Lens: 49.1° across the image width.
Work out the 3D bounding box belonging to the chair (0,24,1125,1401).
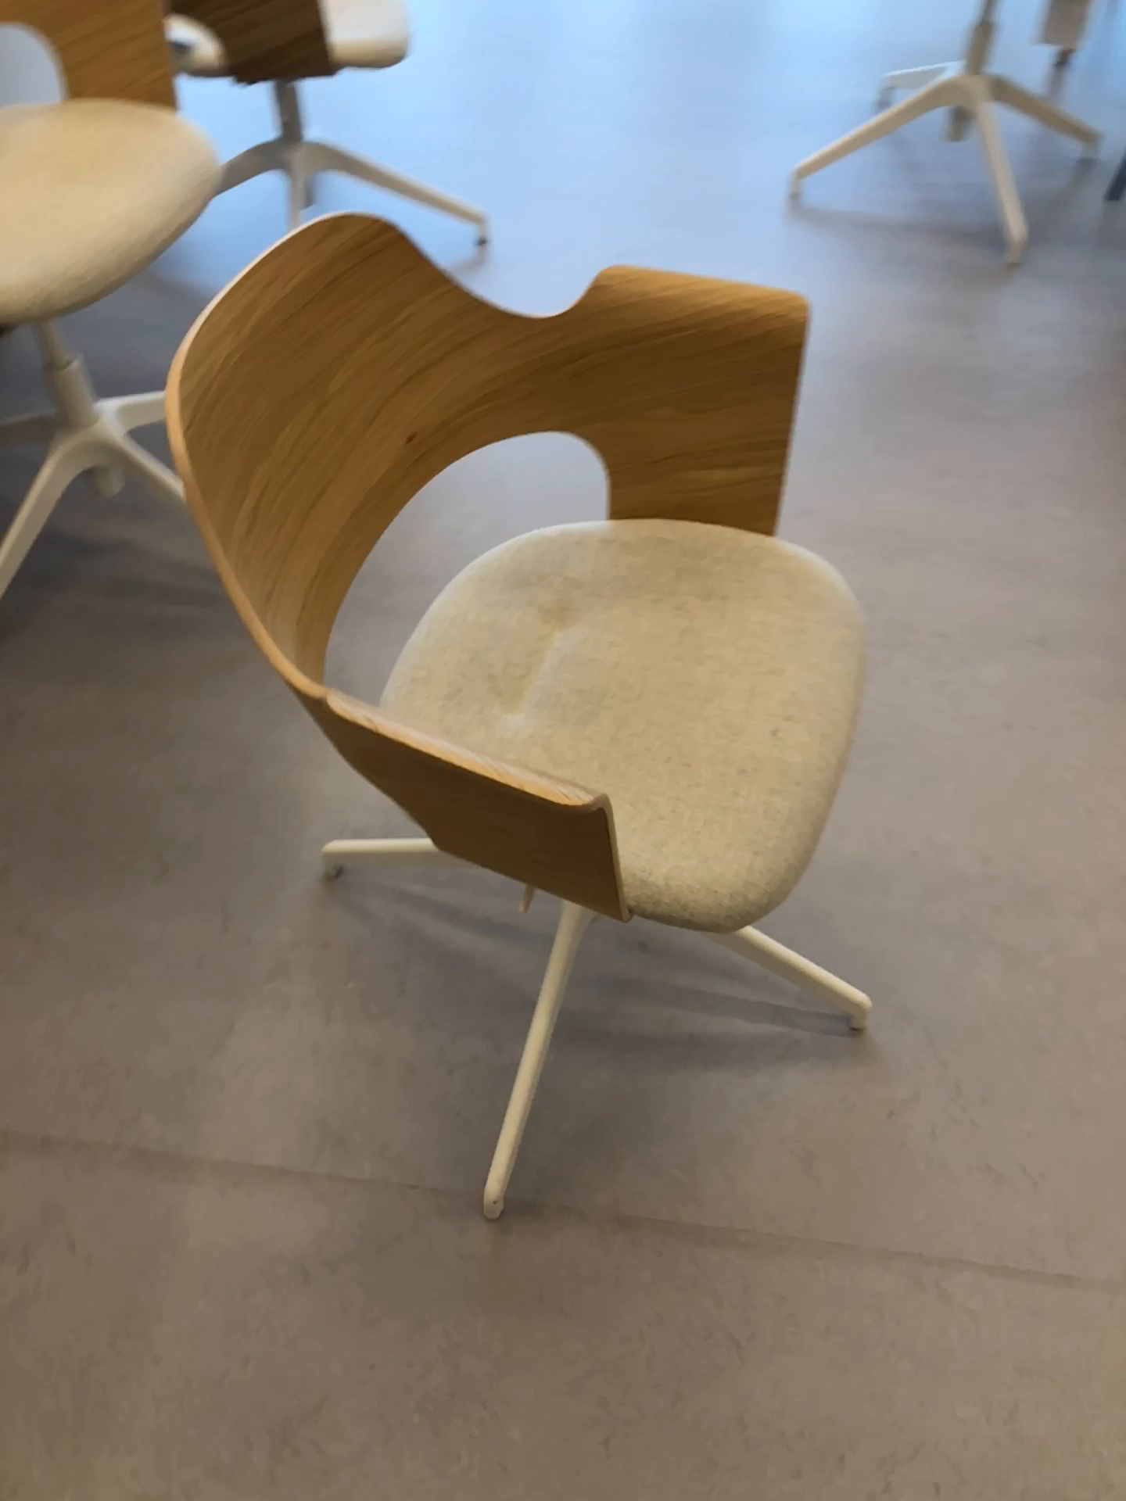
[{"bbox_3d":[0.068,-0.023,1.099,0.661,0.776,0.712,26,56,17],"label":"chair"}]
